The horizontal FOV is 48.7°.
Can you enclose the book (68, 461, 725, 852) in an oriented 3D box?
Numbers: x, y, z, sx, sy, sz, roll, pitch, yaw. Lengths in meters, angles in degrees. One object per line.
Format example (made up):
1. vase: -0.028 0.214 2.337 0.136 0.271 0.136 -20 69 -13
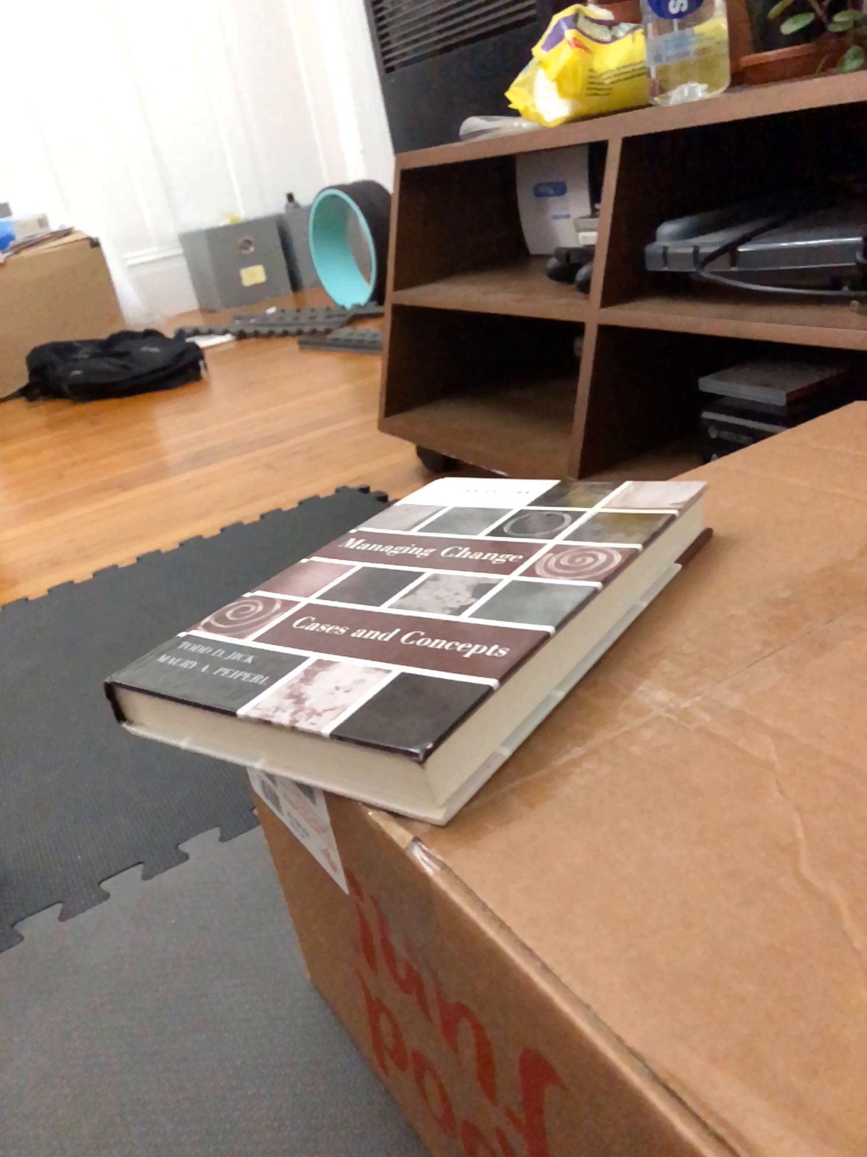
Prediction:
1. book: -0.002 0.007 0.429 0.180 0.030 0.251 7 30 36
